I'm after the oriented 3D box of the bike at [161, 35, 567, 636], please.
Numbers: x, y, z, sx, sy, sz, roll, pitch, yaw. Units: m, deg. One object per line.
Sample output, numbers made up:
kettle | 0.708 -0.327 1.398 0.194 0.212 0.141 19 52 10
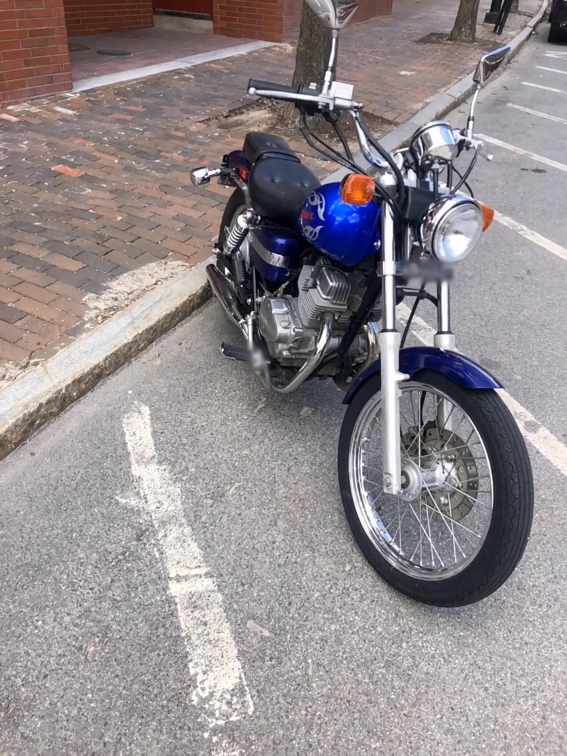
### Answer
bike | 0.268 -0.404 1.883 0.788 1.036 1.918 -10 33 -20
